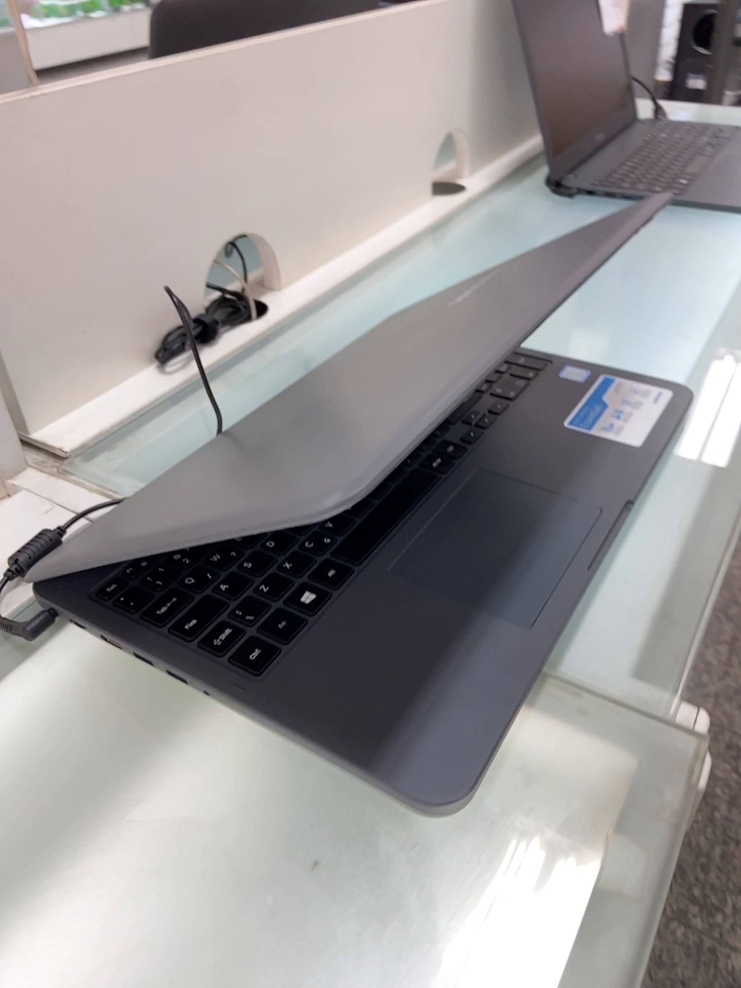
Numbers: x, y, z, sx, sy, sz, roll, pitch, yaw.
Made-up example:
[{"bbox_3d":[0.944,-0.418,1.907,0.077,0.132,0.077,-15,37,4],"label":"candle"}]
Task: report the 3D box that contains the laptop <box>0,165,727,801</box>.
[{"bbox_3d":[0.022,-0.064,0.428,0.237,0.126,0.369,19,41,25],"label":"laptop"}]
